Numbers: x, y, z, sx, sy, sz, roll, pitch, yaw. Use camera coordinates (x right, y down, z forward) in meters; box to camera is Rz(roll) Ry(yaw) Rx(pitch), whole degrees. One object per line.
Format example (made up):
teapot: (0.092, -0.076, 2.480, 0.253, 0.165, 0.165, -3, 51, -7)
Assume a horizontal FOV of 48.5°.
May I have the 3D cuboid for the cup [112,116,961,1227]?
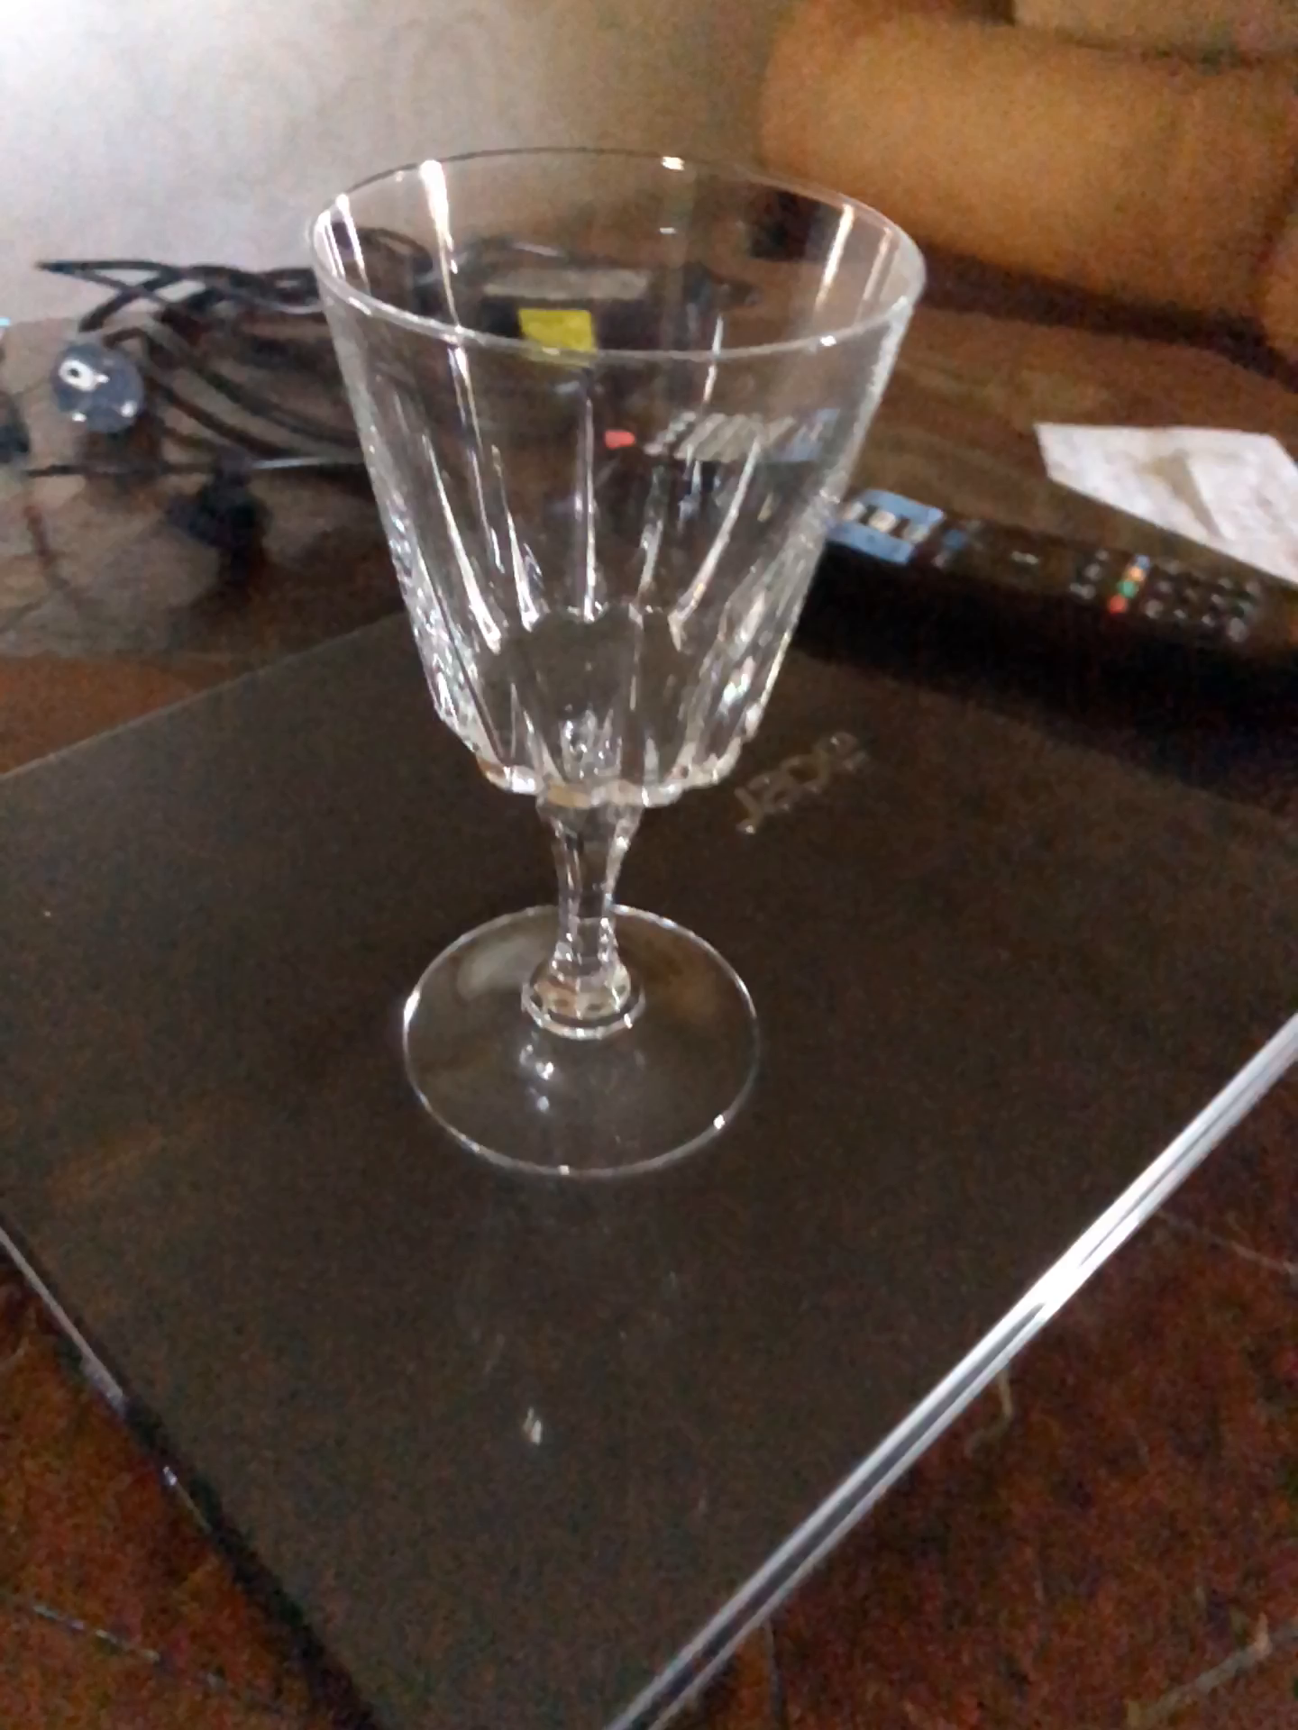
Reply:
cup: (-0.011, -0.031, 0.257, 0.100, 0.159, 0.101, 2, 39, -1)
